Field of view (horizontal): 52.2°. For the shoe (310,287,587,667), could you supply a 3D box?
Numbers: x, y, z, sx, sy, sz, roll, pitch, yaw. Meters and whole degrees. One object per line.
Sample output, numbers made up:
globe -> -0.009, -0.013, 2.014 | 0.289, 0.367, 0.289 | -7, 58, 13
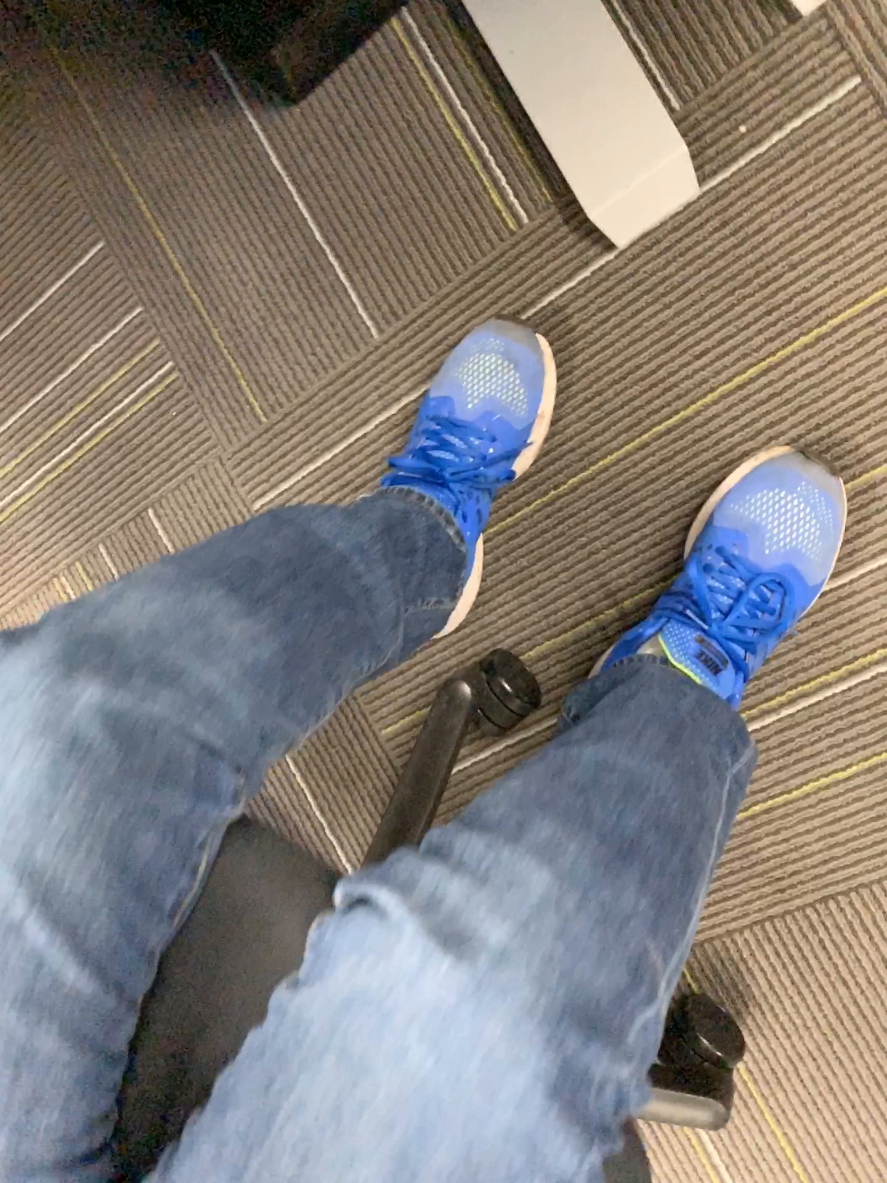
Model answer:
shoe -> 0.002, -0.092, 0.764 | 0.116, 0.083, 0.279 | 27, 108, 14

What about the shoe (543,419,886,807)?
shoe -> 0.212, 0.017, 0.713 | 0.117, 0.083, 0.279 | 36, 110, 11
